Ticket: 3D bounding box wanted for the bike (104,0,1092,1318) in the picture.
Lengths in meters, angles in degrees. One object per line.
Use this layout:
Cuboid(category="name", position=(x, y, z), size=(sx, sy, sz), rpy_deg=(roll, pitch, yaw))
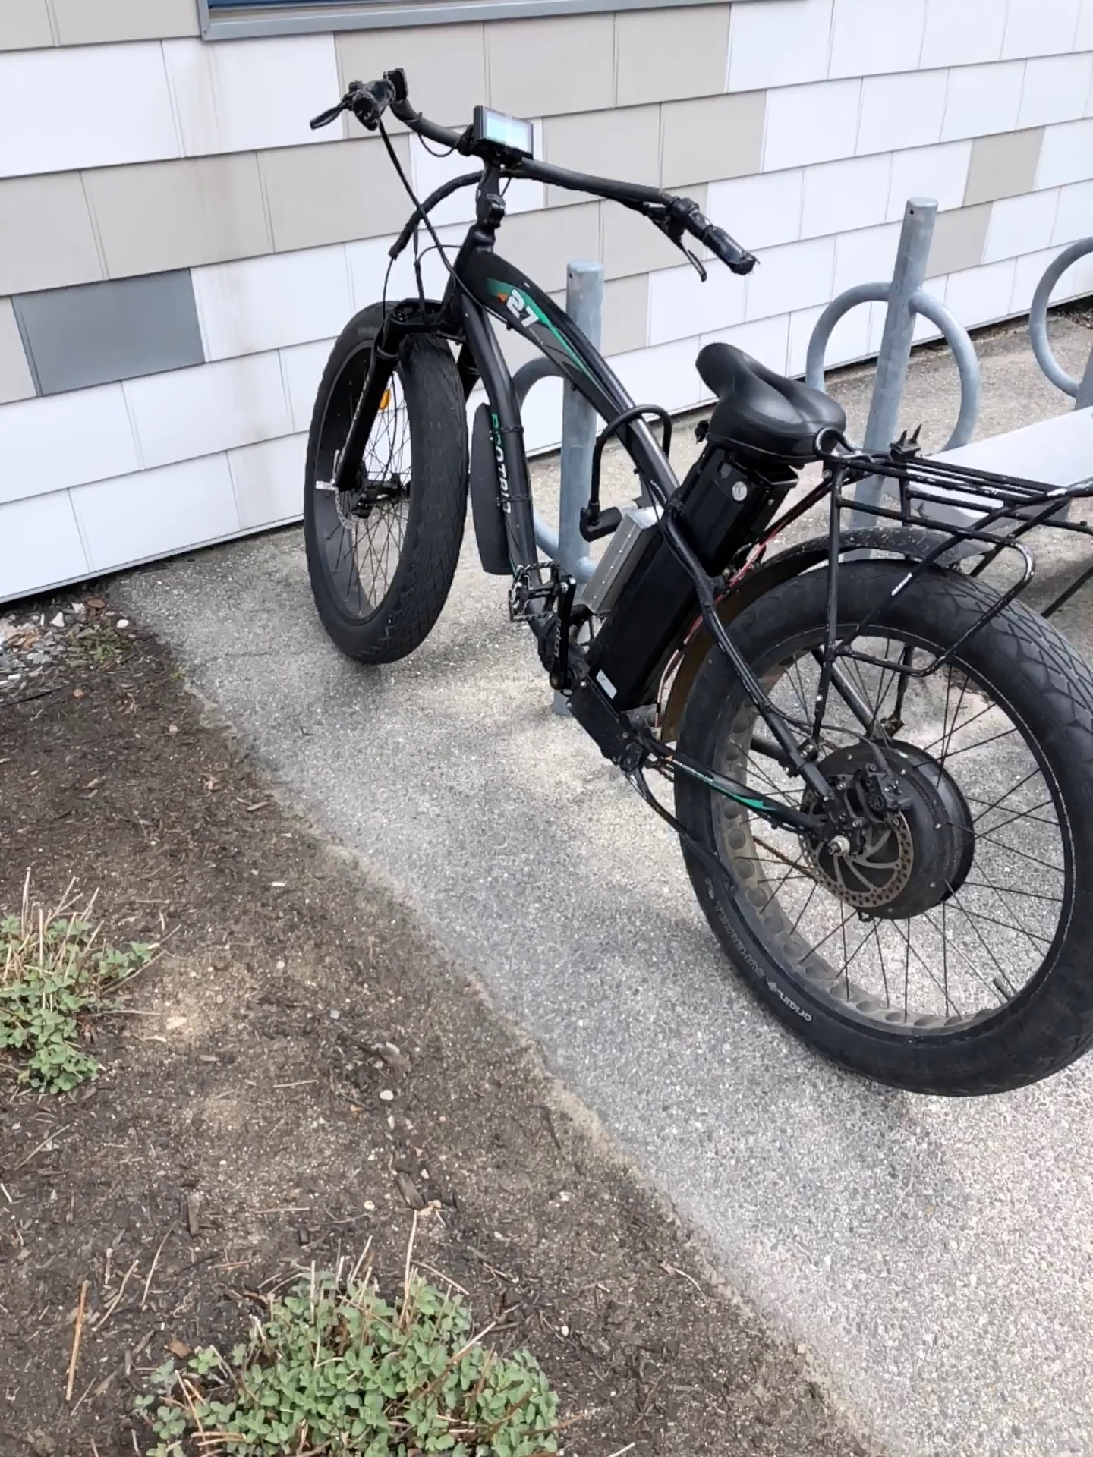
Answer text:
Cuboid(category="bike", position=(0.198, -0.395, 1.905), size=(0.914, 1.132, 1.864), rpy_deg=(-23, 46, -28))
